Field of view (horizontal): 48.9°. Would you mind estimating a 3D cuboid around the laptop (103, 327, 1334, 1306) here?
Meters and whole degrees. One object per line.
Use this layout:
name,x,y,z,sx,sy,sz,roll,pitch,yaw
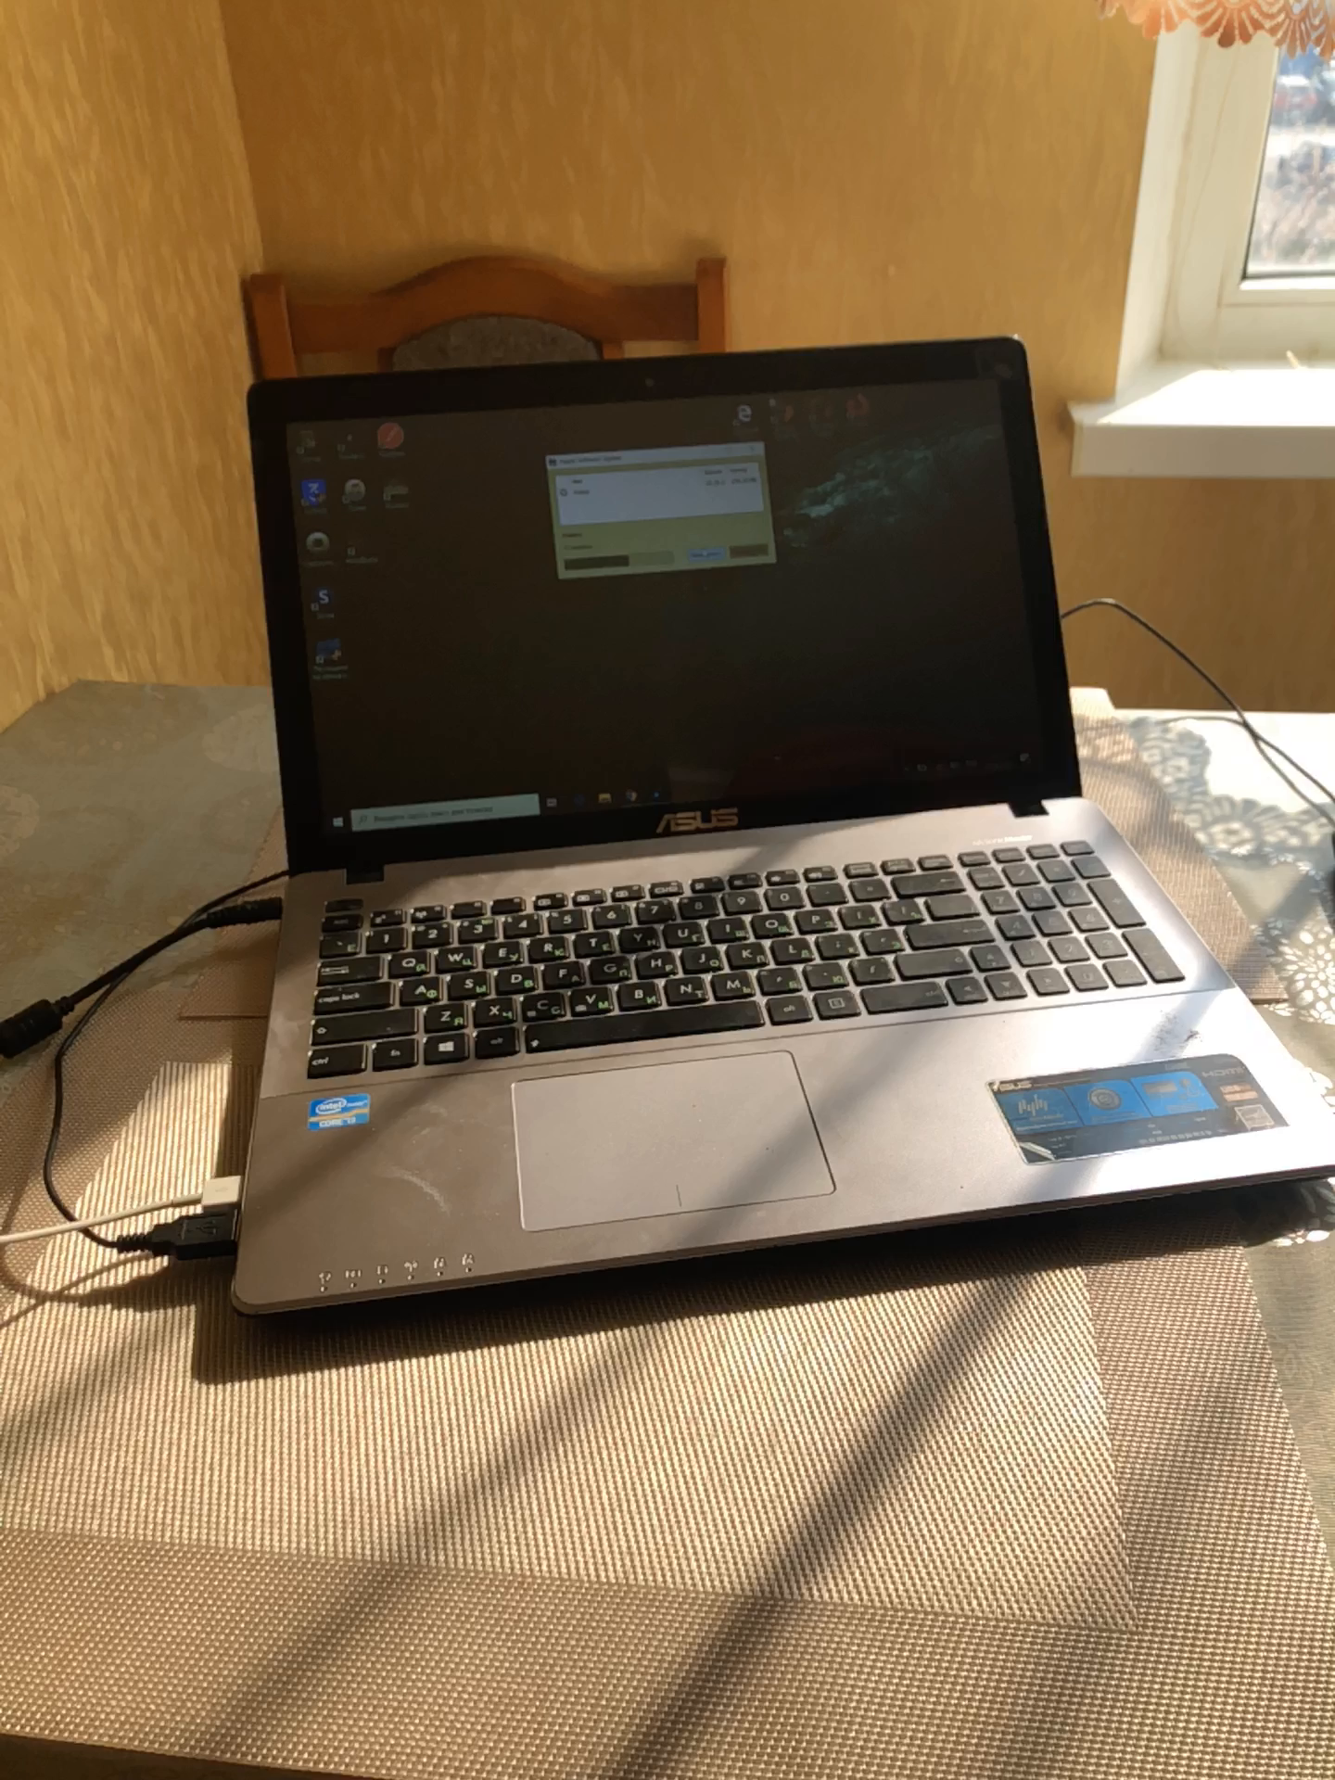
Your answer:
laptop,0.020,-0.076,0.599,0.378,0.183,0.399,-6,34,-6
